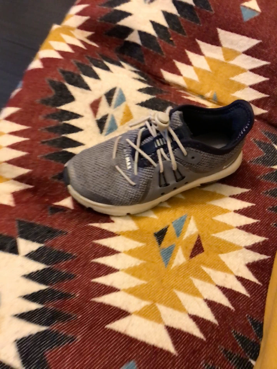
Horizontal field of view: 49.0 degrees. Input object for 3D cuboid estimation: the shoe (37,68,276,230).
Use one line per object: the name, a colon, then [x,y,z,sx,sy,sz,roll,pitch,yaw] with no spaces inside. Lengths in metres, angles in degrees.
shoe: [0.027,-0.032,0.283,0.211,0.074,0.094,-10,69,-7]
